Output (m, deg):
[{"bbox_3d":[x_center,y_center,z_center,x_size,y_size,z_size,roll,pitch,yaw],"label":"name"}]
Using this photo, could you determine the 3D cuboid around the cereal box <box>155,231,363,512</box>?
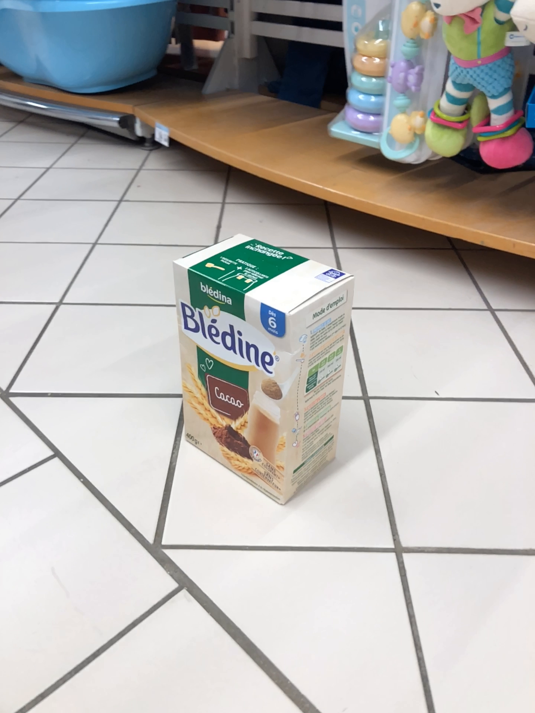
[{"bbox_3d":[-0.010,0.010,0.519,0.140,0.189,0.091,27,42,33],"label":"cereal box"}]
